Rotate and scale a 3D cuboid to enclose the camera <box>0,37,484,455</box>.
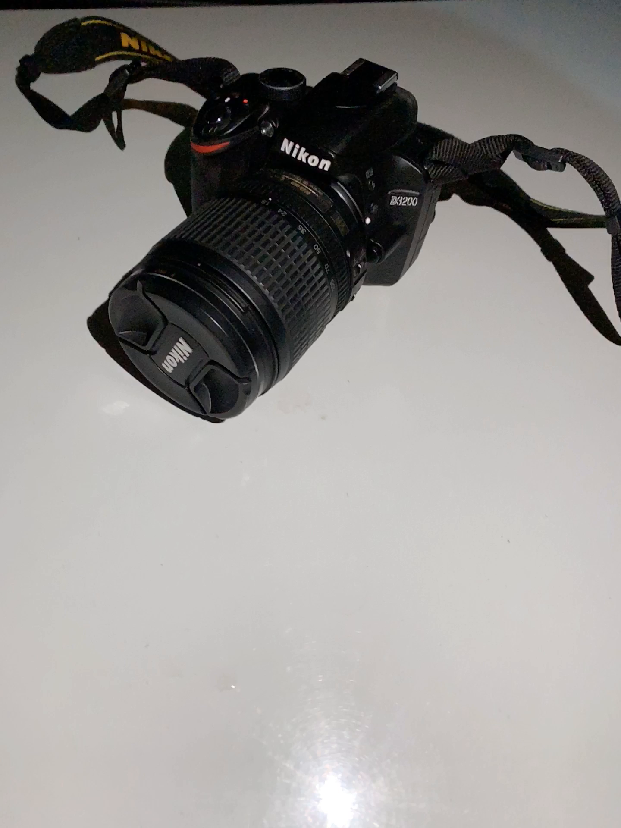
[{"bbox_3d":[-0.023,-0.101,0.320,0.126,0.099,0.201,26,48,23],"label":"camera"}]
